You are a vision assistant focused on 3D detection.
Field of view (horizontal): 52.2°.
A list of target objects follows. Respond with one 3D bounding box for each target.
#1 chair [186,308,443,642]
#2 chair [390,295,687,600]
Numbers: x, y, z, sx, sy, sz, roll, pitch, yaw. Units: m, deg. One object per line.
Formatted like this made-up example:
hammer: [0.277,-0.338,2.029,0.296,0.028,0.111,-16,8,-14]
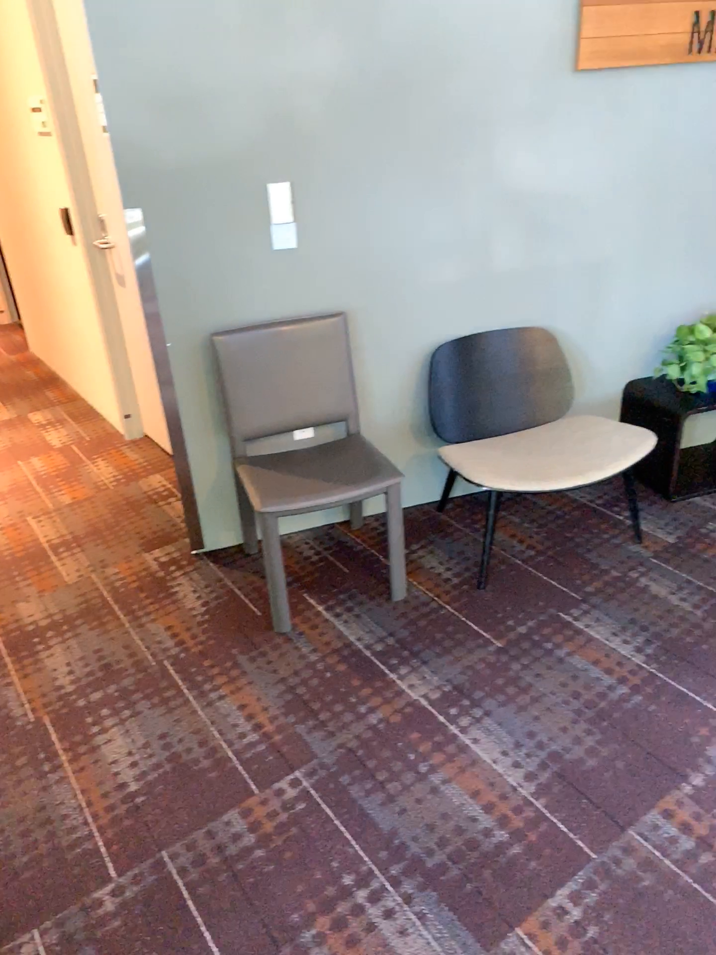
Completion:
chair: [-0.154,-0.053,2.554,0.640,0.835,0.694,-13,28,-17]
chair: [0.648,-0.164,2.850,0.790,0.835,0.714,-13,28,-17]
